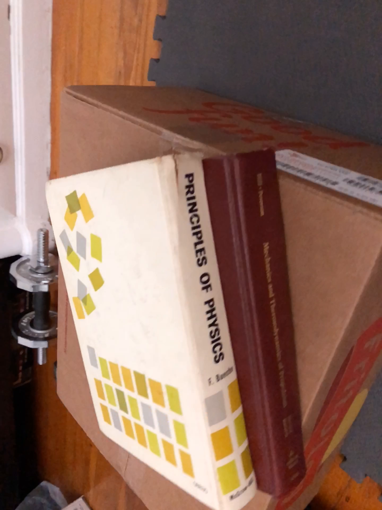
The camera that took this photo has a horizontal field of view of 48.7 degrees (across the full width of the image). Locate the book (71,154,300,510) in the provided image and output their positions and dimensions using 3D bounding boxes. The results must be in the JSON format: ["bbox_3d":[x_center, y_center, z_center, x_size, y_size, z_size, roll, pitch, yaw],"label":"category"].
[{"bbox_3d":[-0.010,0.056,0.345,0.181,0.040,0.250,6,110,46],"label":"book"}]

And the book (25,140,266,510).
[{"bbox_3d":[-0.043,0.054,0.331,0.181,0.040,0.250,2,107,46],"label":"book"}]
